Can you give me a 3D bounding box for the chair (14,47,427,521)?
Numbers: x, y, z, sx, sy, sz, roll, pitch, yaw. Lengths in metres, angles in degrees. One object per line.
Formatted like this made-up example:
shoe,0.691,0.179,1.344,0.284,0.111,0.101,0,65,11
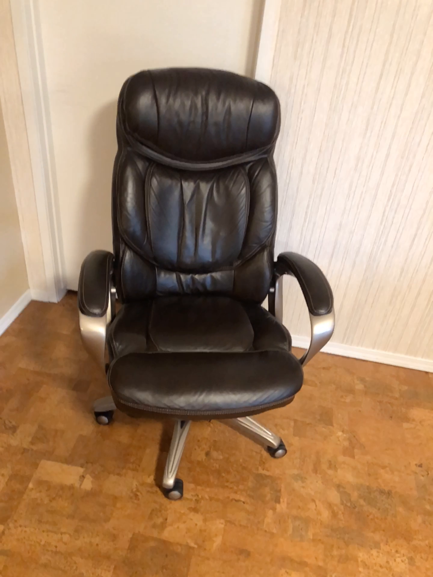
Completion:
chair,-0.075,0.000,1.341,0.690,1.086,0.652,-2,35,-12
